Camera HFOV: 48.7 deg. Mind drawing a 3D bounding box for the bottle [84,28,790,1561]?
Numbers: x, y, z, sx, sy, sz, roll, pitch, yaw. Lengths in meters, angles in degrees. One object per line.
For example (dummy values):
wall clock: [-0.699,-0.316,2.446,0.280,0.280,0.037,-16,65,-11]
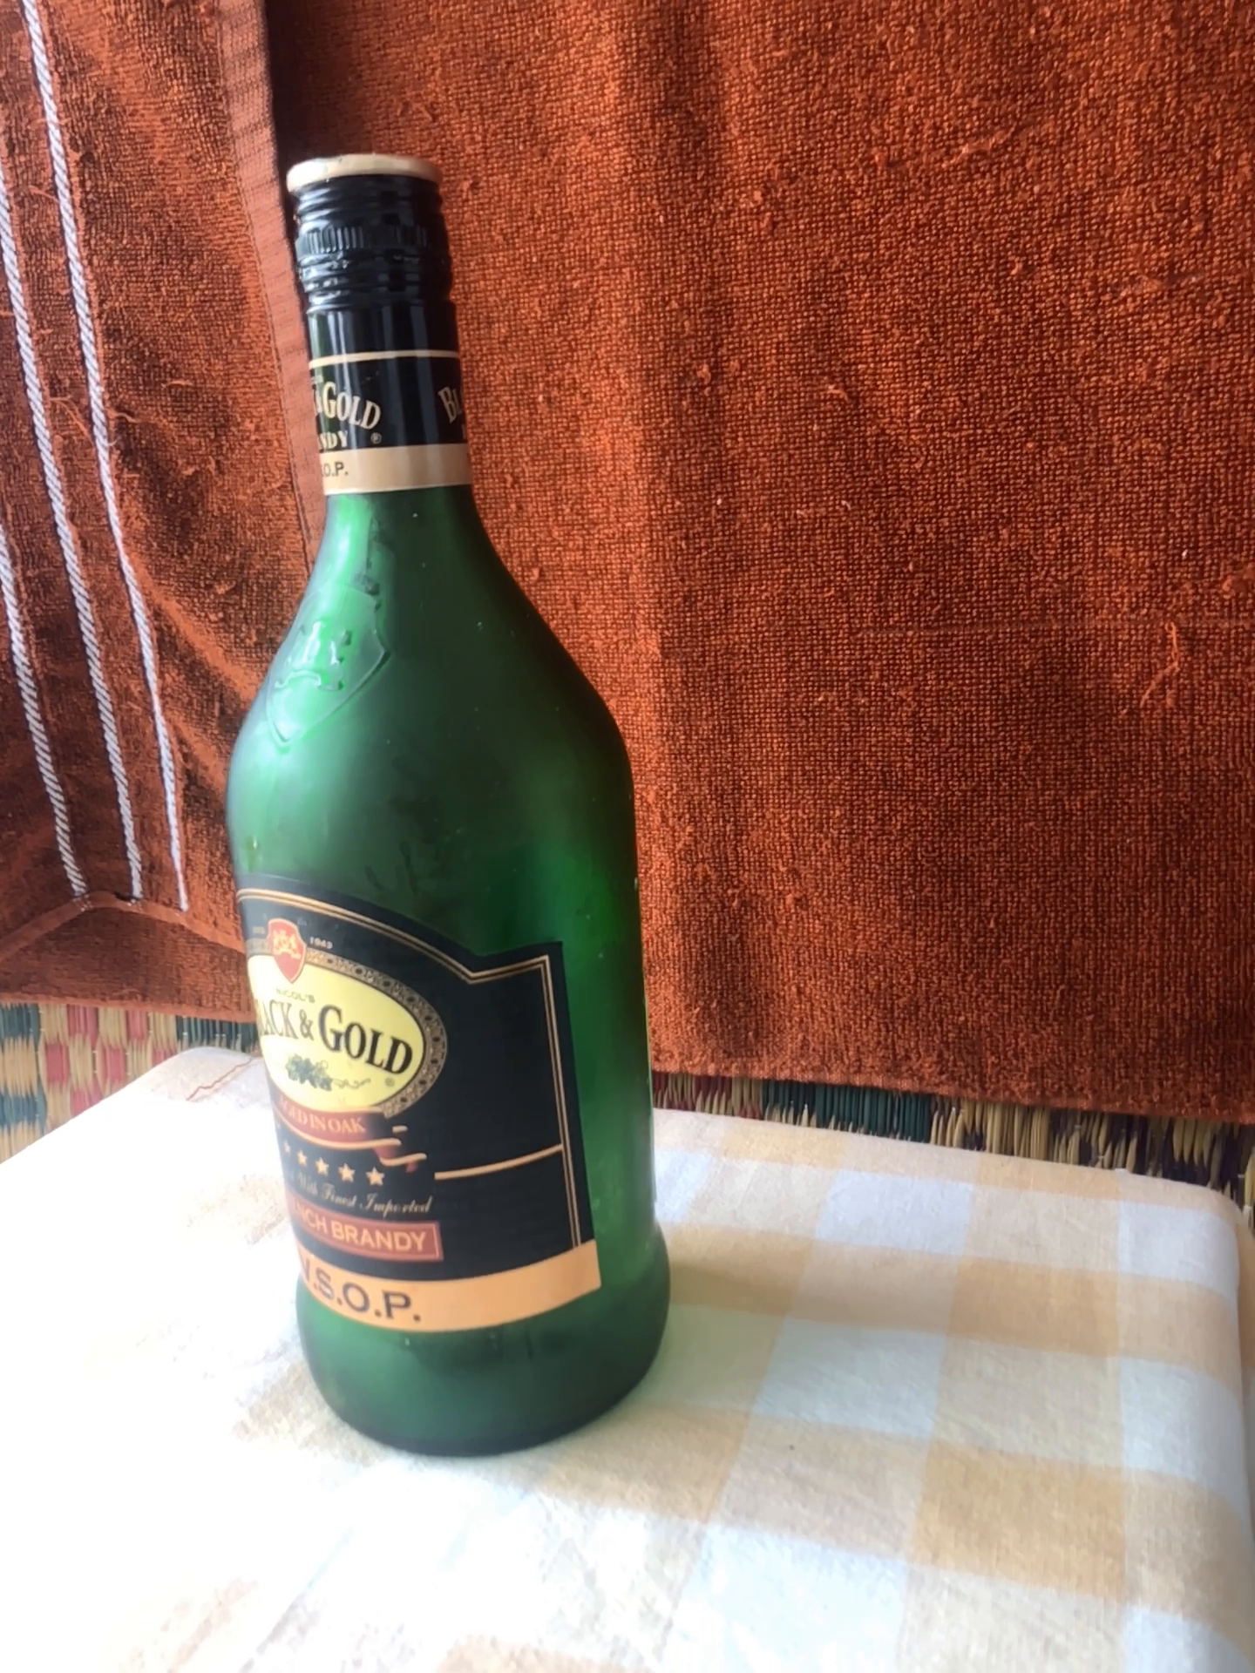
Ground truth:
bottle: [-0.029,-0.004,0.284,0.090,0.259,0.080,9,20,37]
